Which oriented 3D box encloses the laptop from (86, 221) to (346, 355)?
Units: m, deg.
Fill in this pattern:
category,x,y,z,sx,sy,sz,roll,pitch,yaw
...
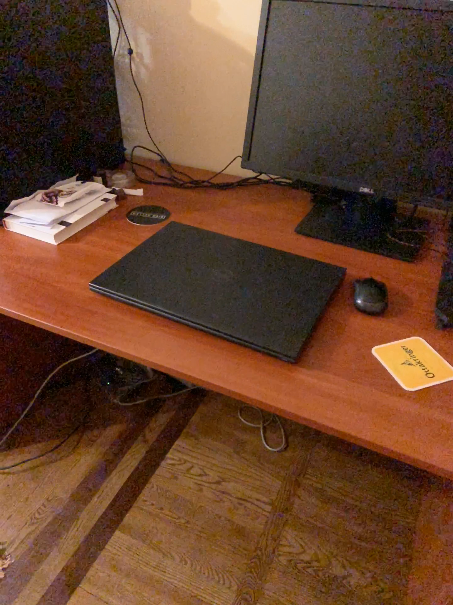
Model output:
category,x,y,z,sx,sy,sz,roll,pitch,yaw
laptop,-0.009,-0.045,0.762,0.351,0.001,0.248,18,39,21
